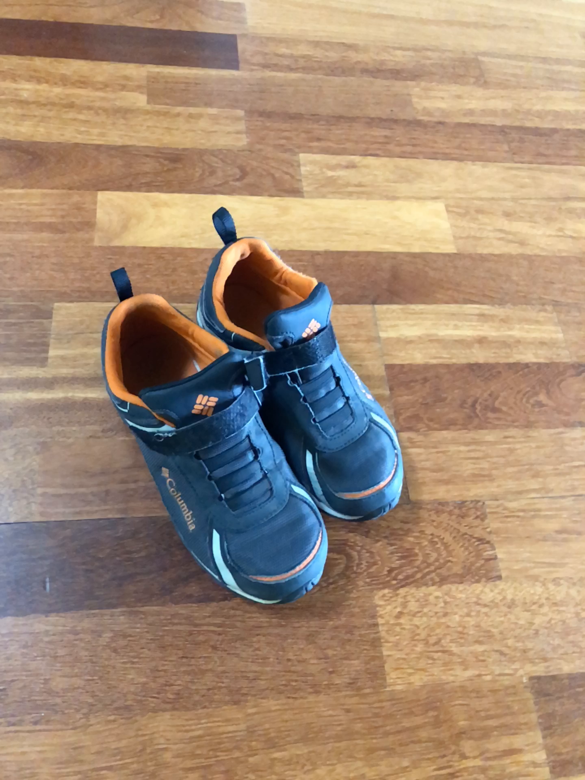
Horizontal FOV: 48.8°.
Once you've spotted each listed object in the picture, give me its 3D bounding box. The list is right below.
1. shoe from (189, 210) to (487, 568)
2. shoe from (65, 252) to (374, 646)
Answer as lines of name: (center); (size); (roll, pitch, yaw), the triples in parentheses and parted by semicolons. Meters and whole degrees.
shoe: (0.020, -0.004, 0.543); (0.112, 0.126, 0.252); (-25, 68, -21)
shoe: (-0.062, 0.037, 0.465); (0.097, 0.102, 0.248); (-25, 68, -21)
